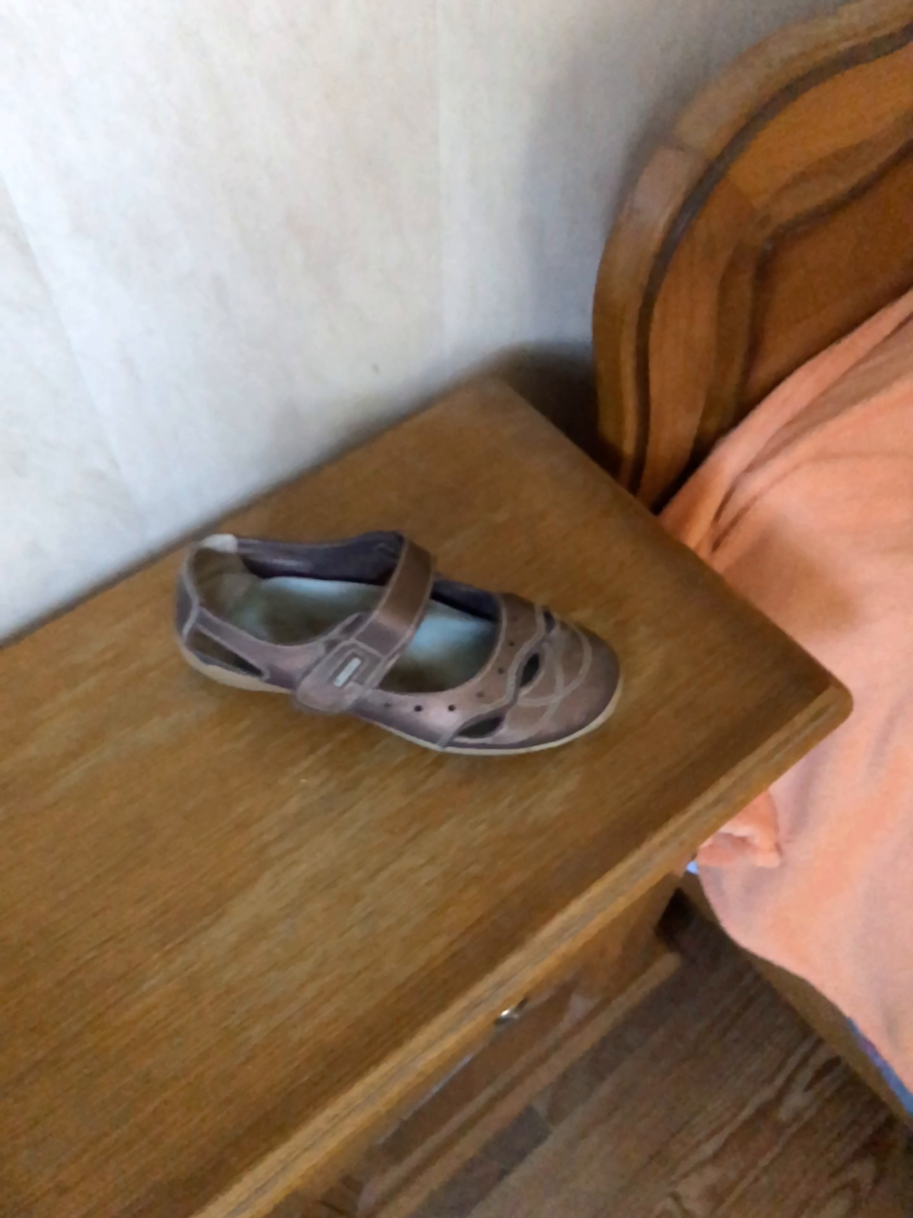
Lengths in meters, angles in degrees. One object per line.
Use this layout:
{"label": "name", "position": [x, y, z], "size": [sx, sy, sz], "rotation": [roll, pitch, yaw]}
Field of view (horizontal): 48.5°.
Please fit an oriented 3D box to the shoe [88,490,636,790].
{"label": "shoe", "position": [-0.042, 0.016, 0.545], "size": [0.260, 0.090, 0.101], "rotation": [6, 55, 5]}
